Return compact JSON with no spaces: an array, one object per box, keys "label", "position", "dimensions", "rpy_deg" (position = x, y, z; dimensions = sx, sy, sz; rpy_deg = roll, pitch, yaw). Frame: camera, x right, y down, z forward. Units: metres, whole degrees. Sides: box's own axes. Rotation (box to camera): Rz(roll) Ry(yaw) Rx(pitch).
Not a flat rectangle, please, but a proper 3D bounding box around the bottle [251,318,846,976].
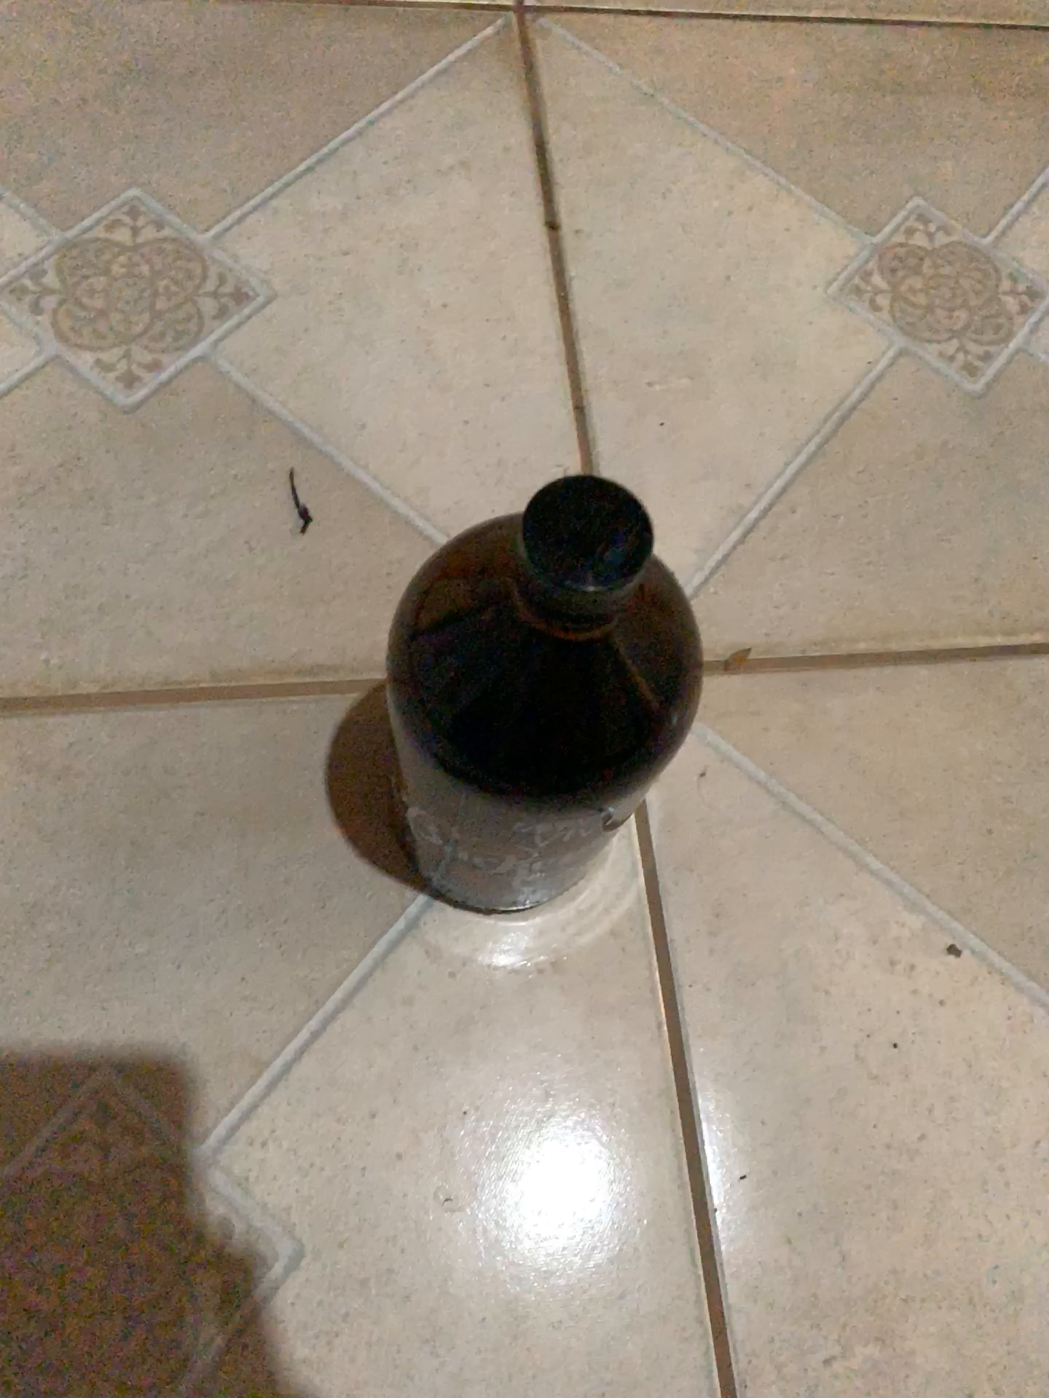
[{"label":"bottle","position":[-0.001,0.007,0.331],"dimensions":[0.100,0.210,0.090],"rpy_deg":[28,69,6]}]
